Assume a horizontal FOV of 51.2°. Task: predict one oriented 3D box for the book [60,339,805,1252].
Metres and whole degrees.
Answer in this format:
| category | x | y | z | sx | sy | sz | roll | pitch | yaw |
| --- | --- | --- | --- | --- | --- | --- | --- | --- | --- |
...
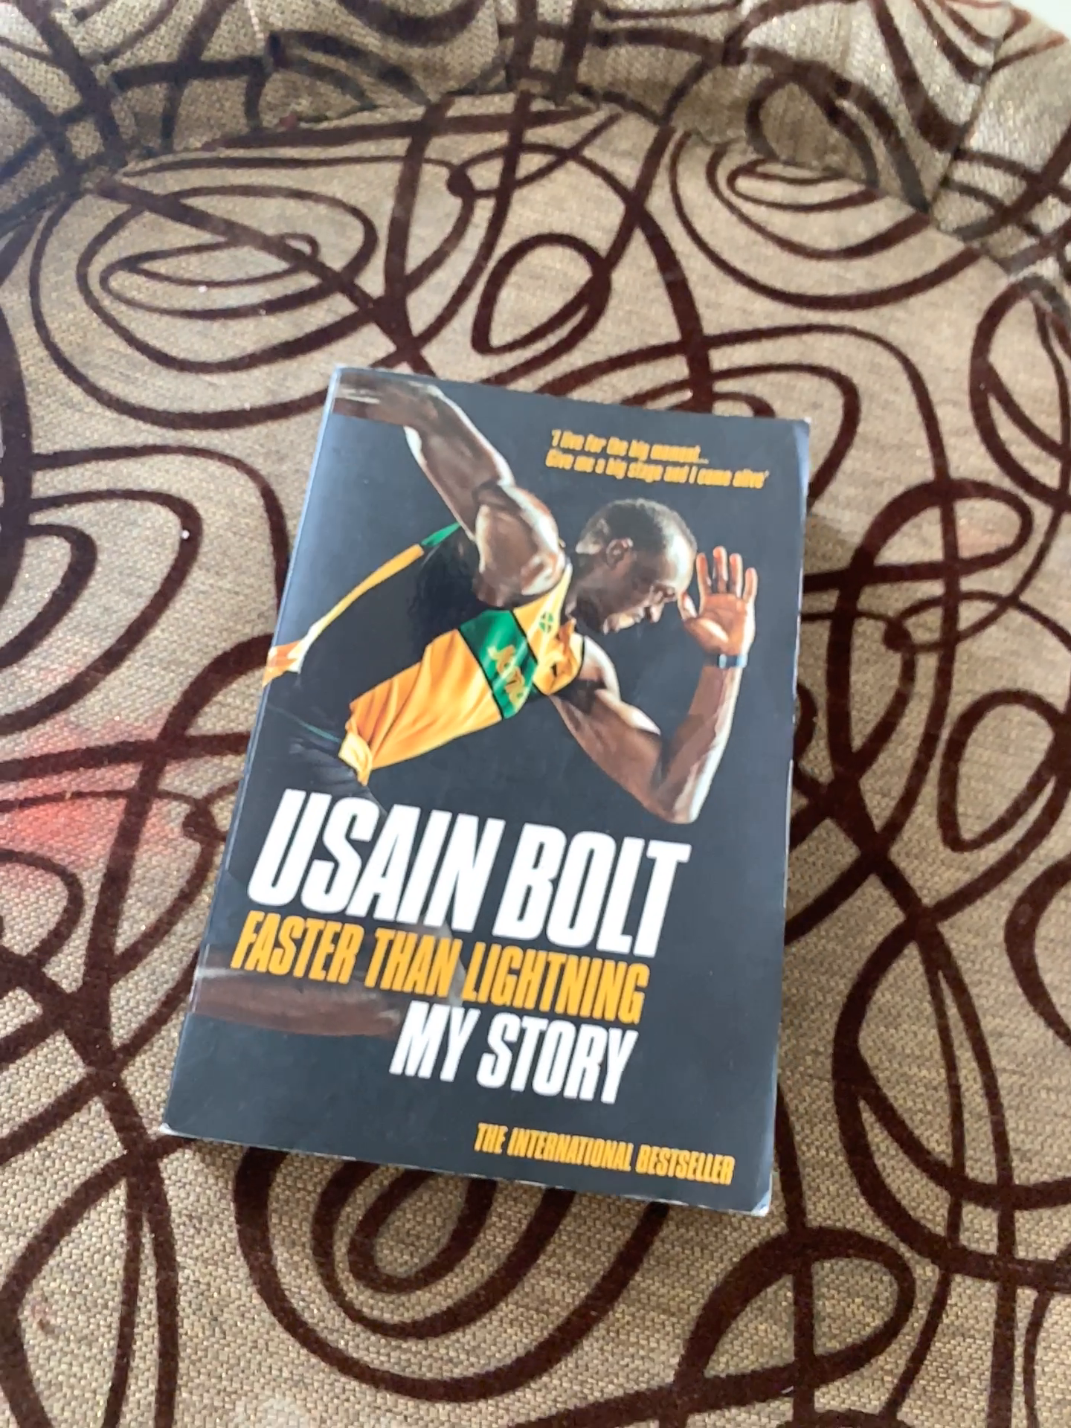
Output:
| category | x | y | z | sx | sy | sz | roll | pitch | yaw |
| --- | --- | --- | --- | --- | --- | --- | --- | --- | --- |
| book | -0.013 | 0.010 | 0.273 | 0.140 | 0.030 | 0.201 | 8 | 69 | 0 |
